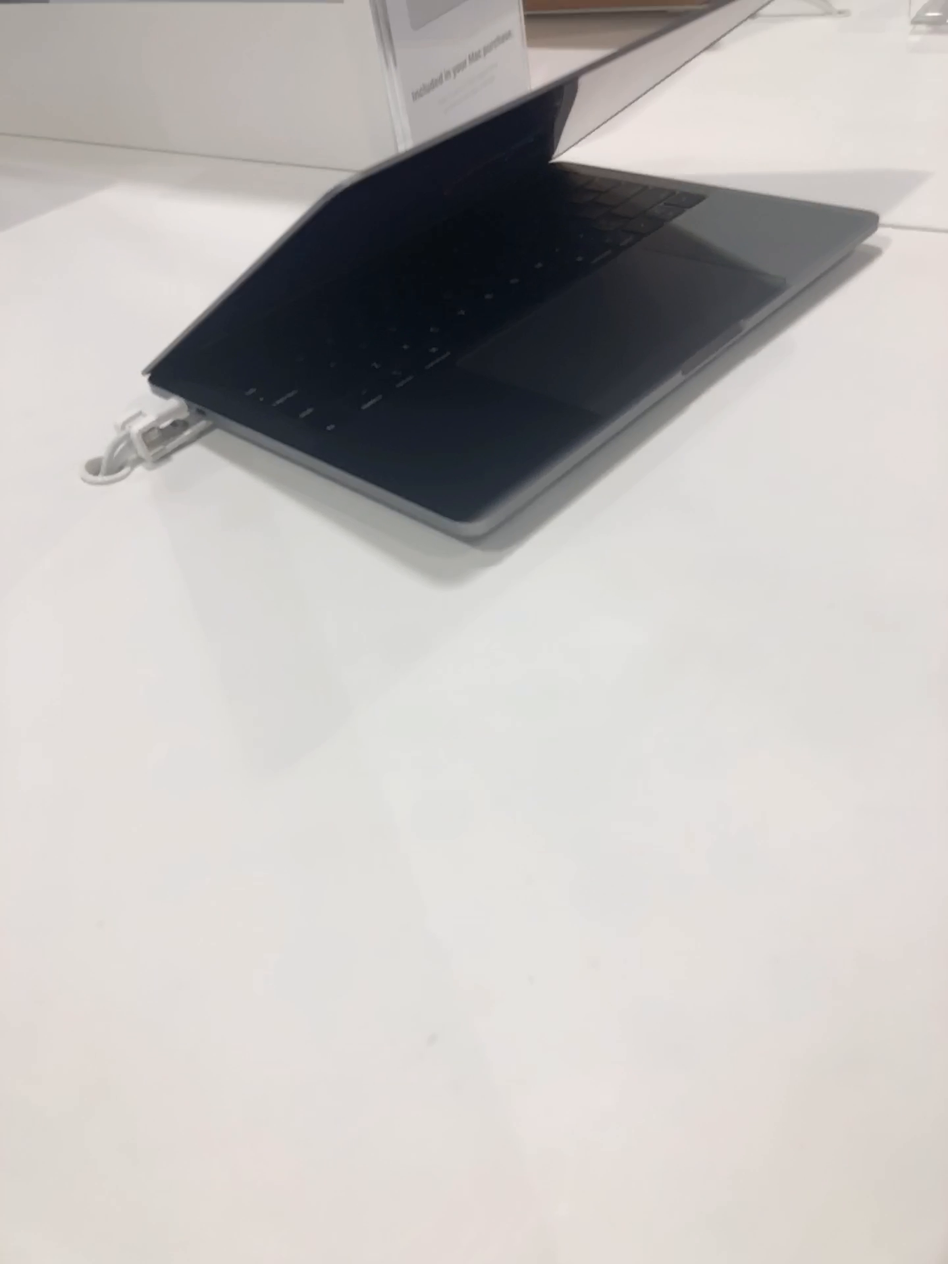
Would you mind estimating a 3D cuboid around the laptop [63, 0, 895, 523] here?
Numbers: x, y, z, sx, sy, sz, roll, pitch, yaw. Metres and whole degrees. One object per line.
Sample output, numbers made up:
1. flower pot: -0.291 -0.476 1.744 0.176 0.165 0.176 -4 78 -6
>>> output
1. laptop: 0.016 -0.201 0.464 0.205 0.109 0.295 27 53 34
